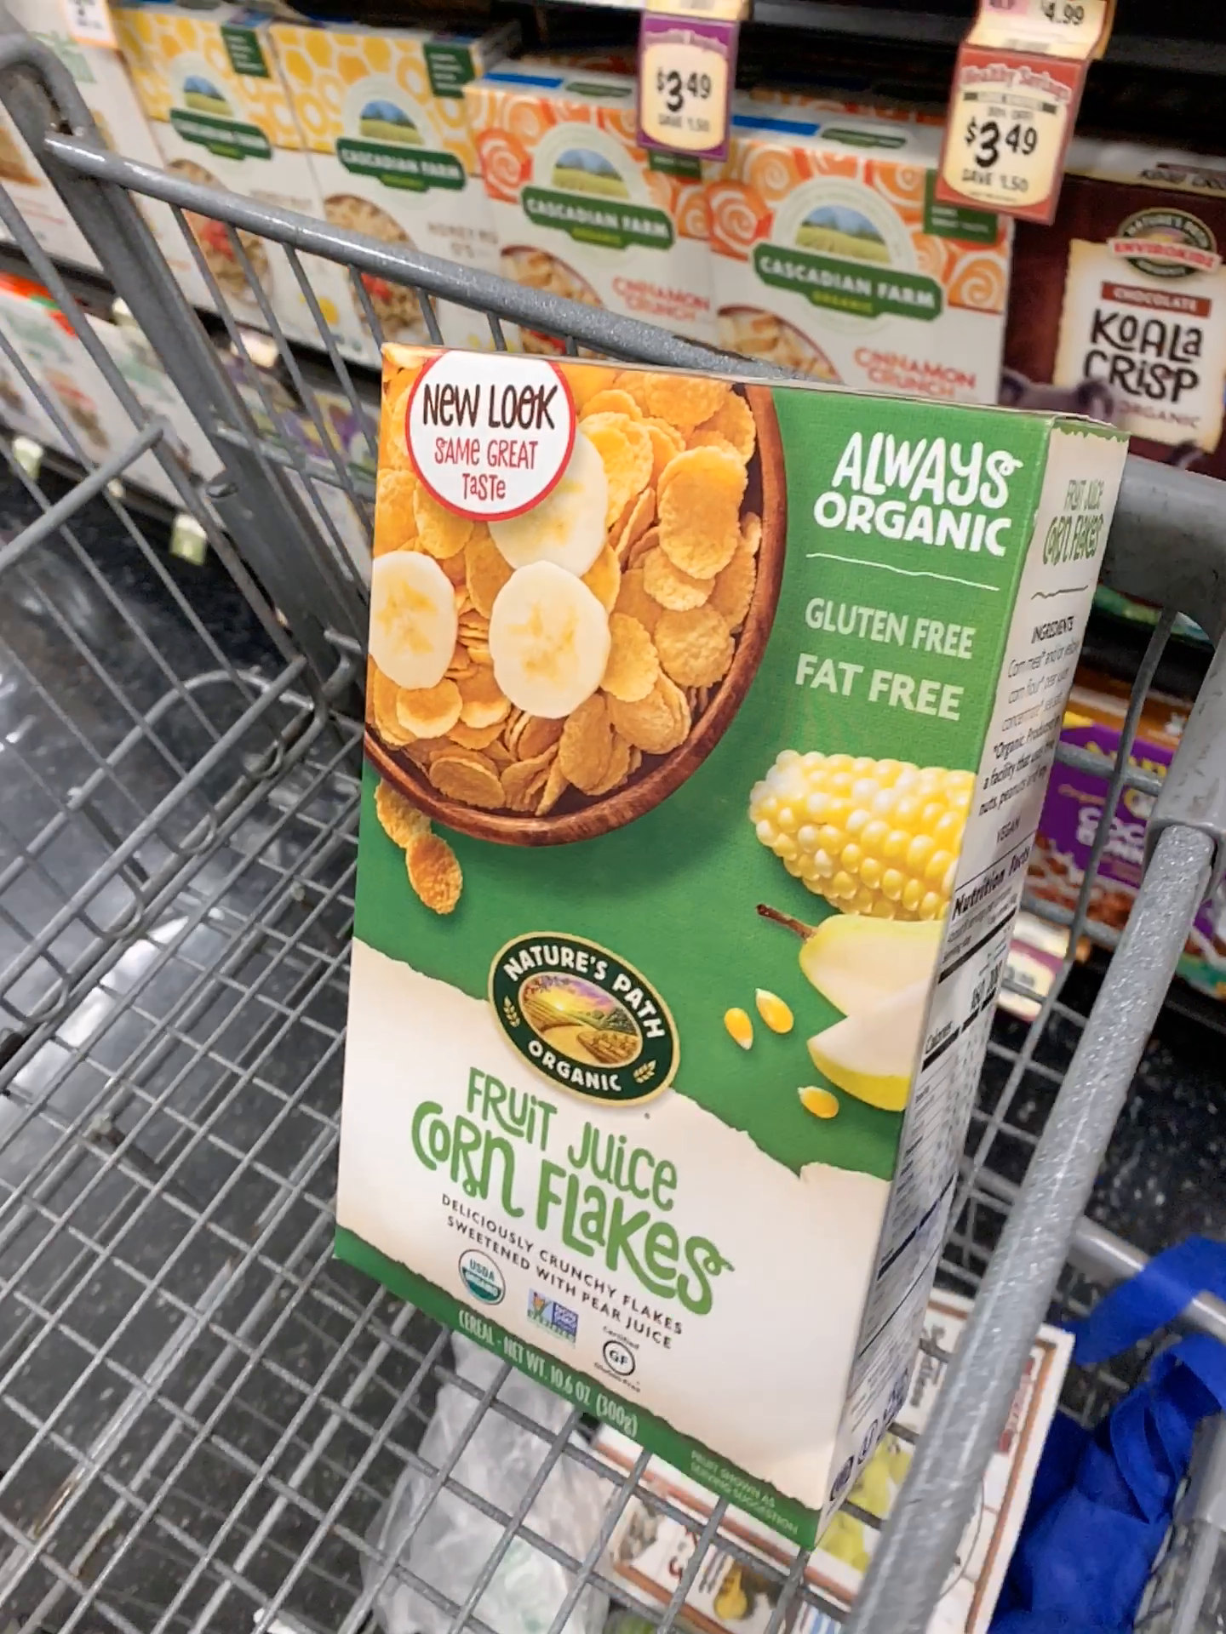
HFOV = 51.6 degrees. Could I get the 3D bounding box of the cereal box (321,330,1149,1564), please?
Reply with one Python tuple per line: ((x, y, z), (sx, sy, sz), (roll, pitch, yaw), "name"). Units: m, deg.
((0.011, 0.022, 0.310), (0.160, 0.250, 0.060), (18, 21, 31), "cereal box")
